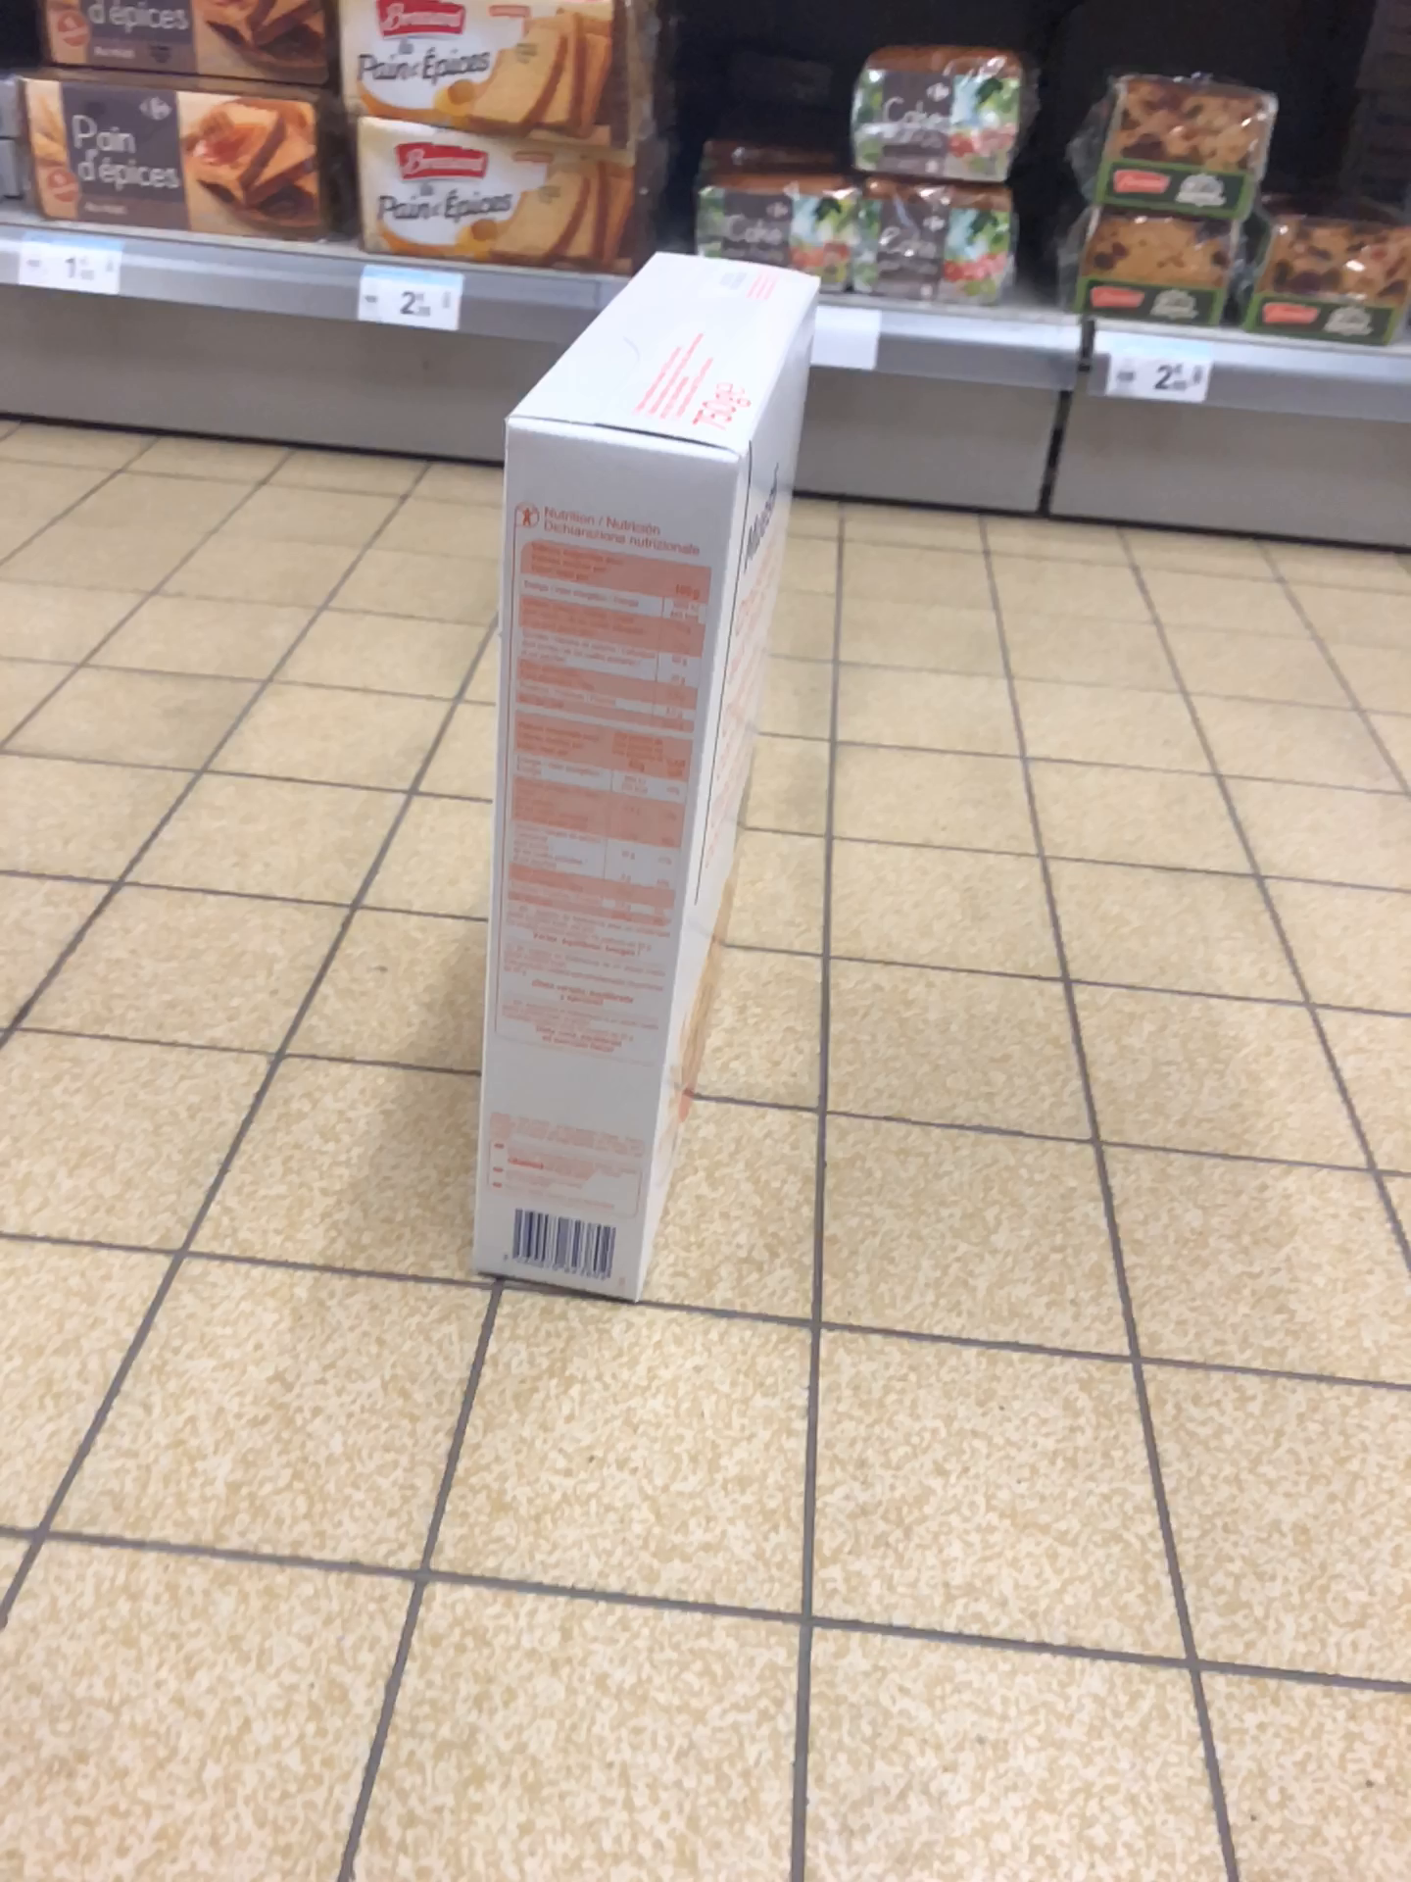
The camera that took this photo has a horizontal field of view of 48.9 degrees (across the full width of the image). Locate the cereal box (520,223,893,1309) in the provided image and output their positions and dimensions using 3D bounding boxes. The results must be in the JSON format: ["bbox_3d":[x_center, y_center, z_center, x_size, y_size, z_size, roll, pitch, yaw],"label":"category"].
[{"bbox_3d":[0.001,-0.058,0.484,0.060,0.268,0.201,10,34,4],"label":"cereal box"}]
